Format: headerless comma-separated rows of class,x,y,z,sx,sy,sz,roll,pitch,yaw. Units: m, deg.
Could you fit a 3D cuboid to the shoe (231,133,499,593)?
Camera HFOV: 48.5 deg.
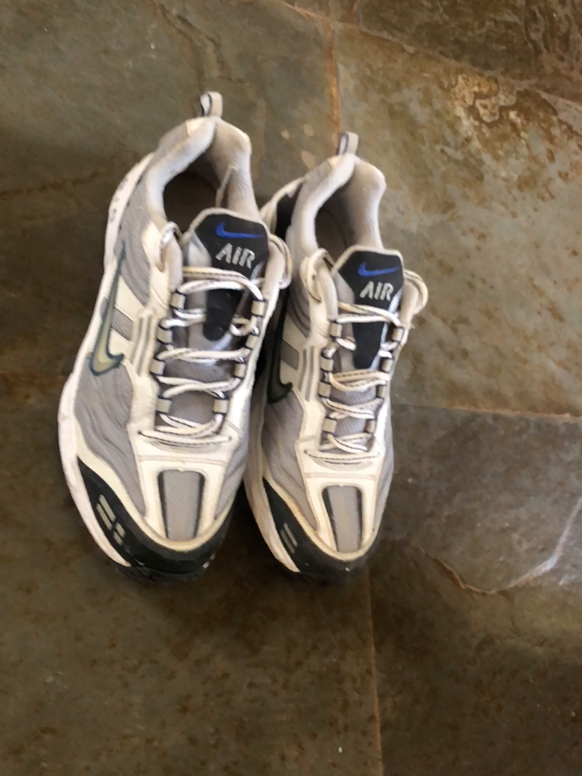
shoe,0.034,-0.008,0.417,0.110,0.109,0.261,5,70,-24

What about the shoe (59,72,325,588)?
shoe,-0.064,-0.023,0.379,0.110,0.119,0.261,5,70,-24
